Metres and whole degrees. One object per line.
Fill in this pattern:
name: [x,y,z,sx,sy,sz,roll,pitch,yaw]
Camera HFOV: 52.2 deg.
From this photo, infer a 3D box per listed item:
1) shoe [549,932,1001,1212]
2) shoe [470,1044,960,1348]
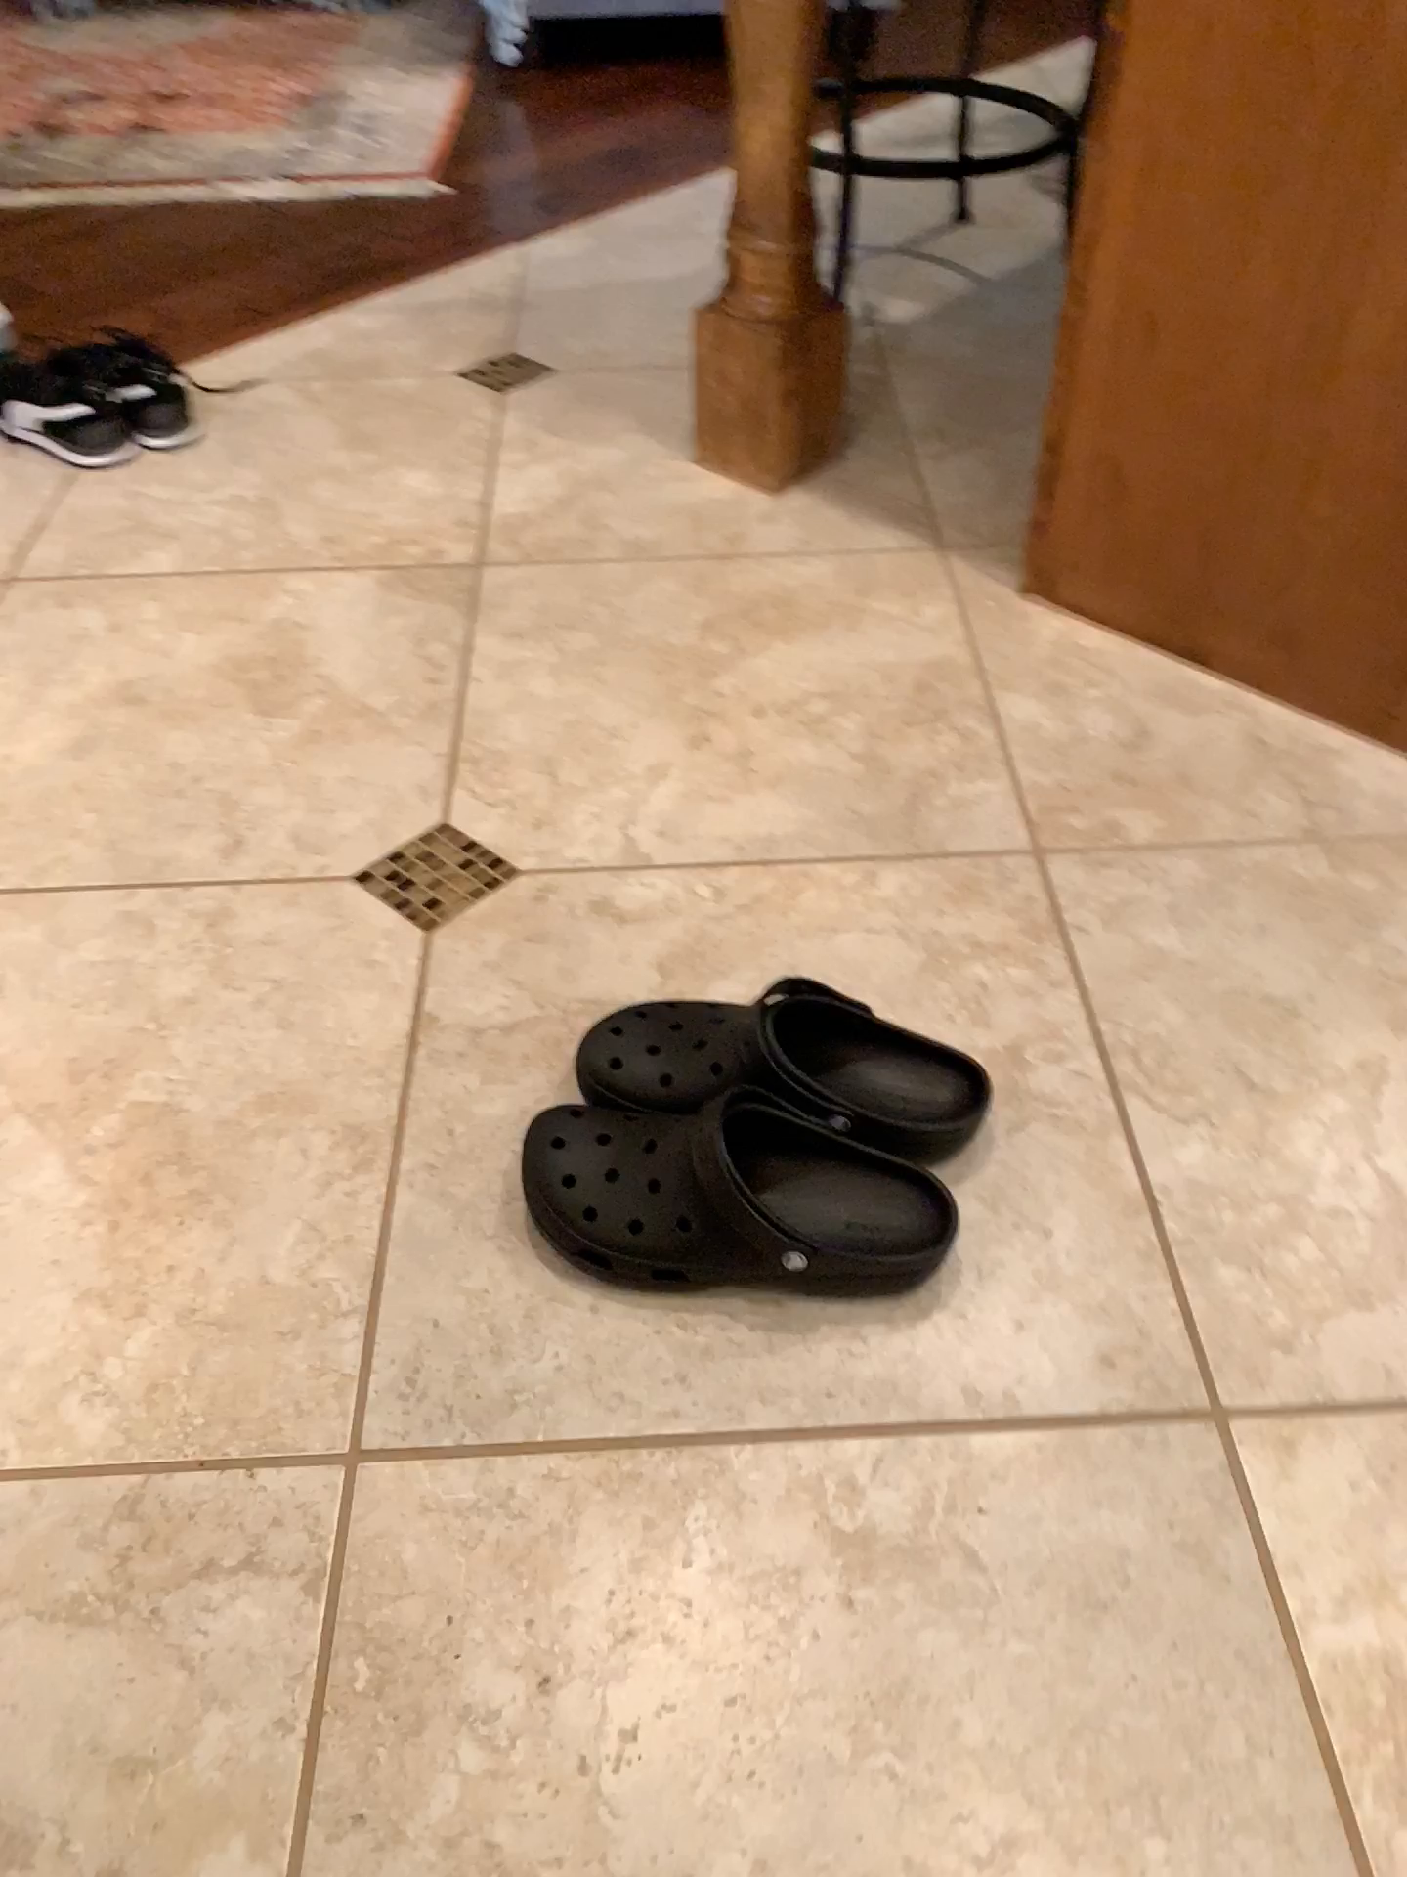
shoe: [0.050,0.087,0.972,0.278,0.085,0.114,9,45,12]
shoe: [0.012,0.157,0.897,0.278,0.085,0.124,7,44,9]
